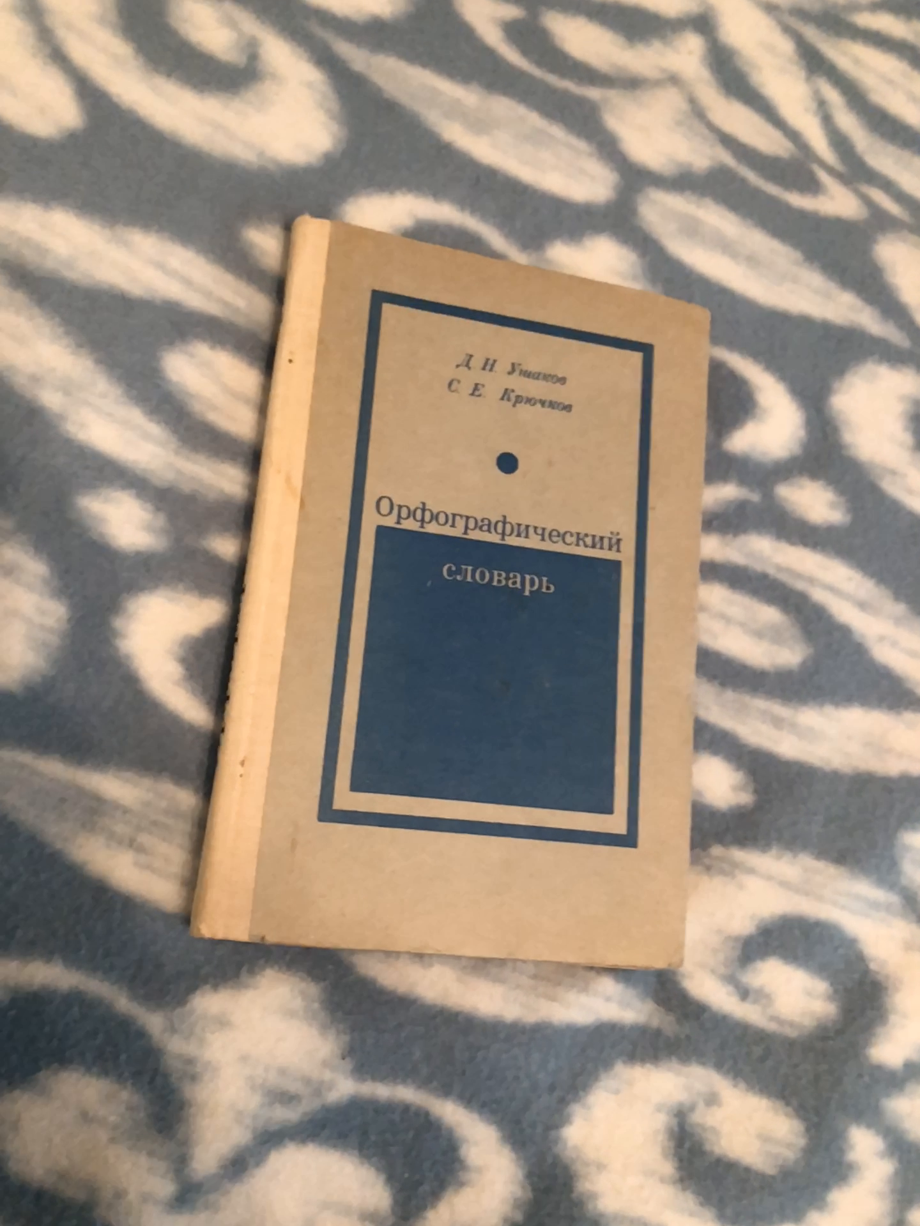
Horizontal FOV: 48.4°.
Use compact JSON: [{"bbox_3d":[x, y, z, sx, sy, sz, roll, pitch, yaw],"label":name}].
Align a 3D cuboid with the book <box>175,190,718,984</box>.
[{"bbox_3d":[0.004,-0.009,0.297,0.137,0.022,0.210,9,76,-13],"label":"book"}]
